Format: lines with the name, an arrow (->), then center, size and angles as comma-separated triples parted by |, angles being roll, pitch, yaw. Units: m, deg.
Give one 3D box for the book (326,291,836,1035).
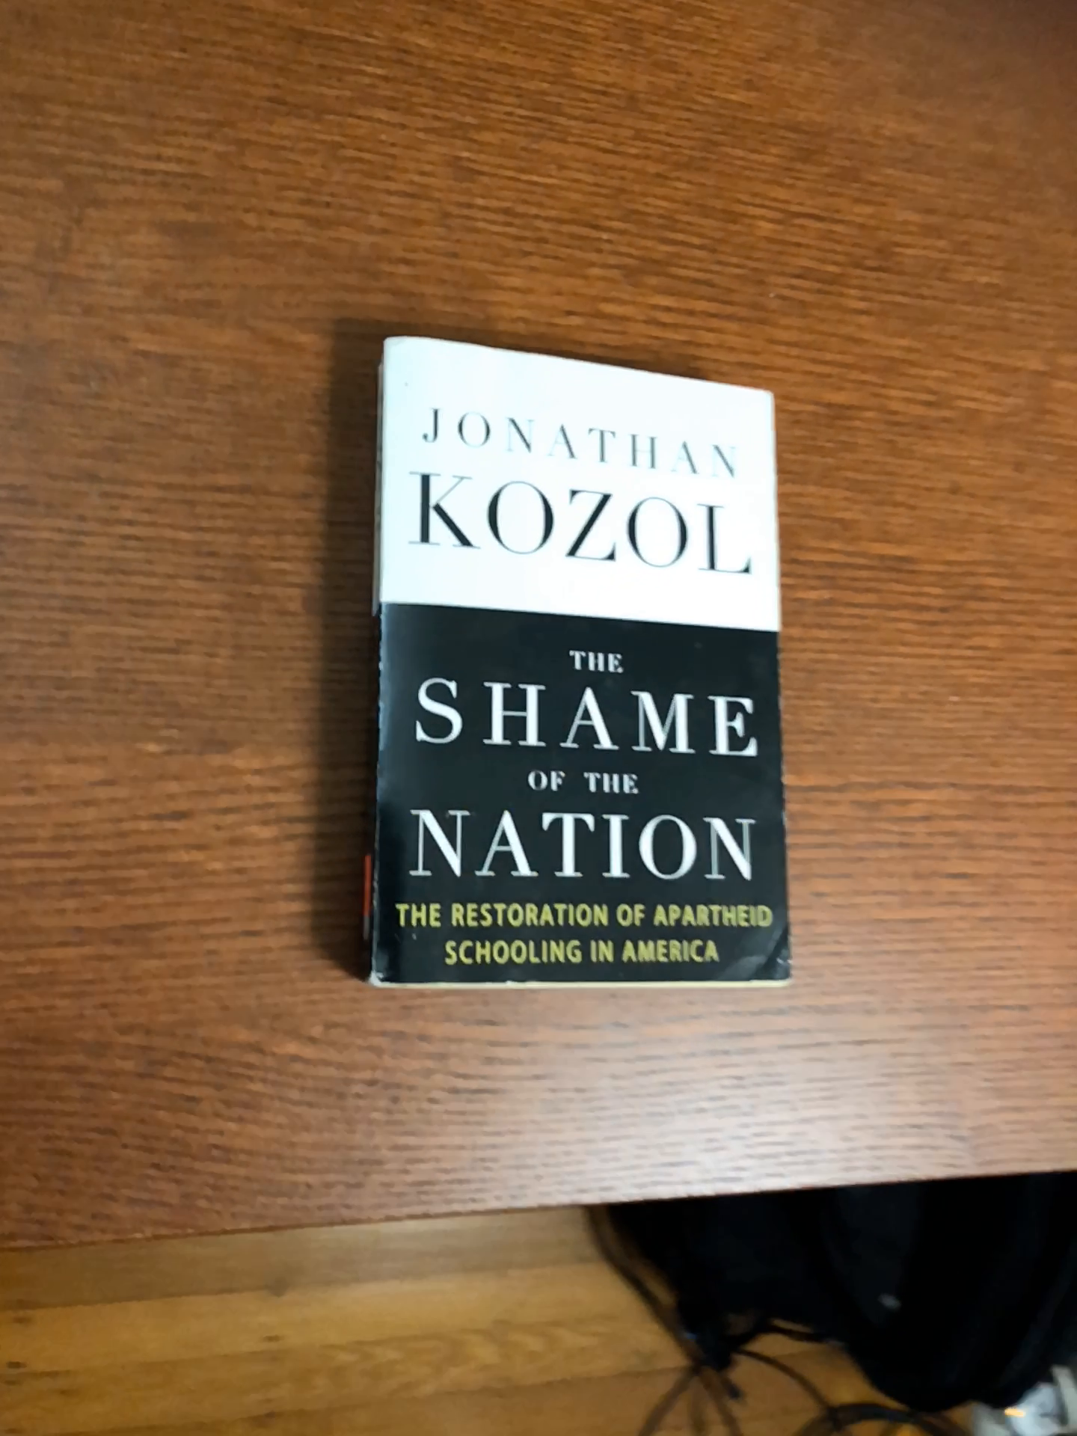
book -> 0.018, -0.015, 0.398 | 0.160, 0.030, 0.230 | 4, 79, -17
